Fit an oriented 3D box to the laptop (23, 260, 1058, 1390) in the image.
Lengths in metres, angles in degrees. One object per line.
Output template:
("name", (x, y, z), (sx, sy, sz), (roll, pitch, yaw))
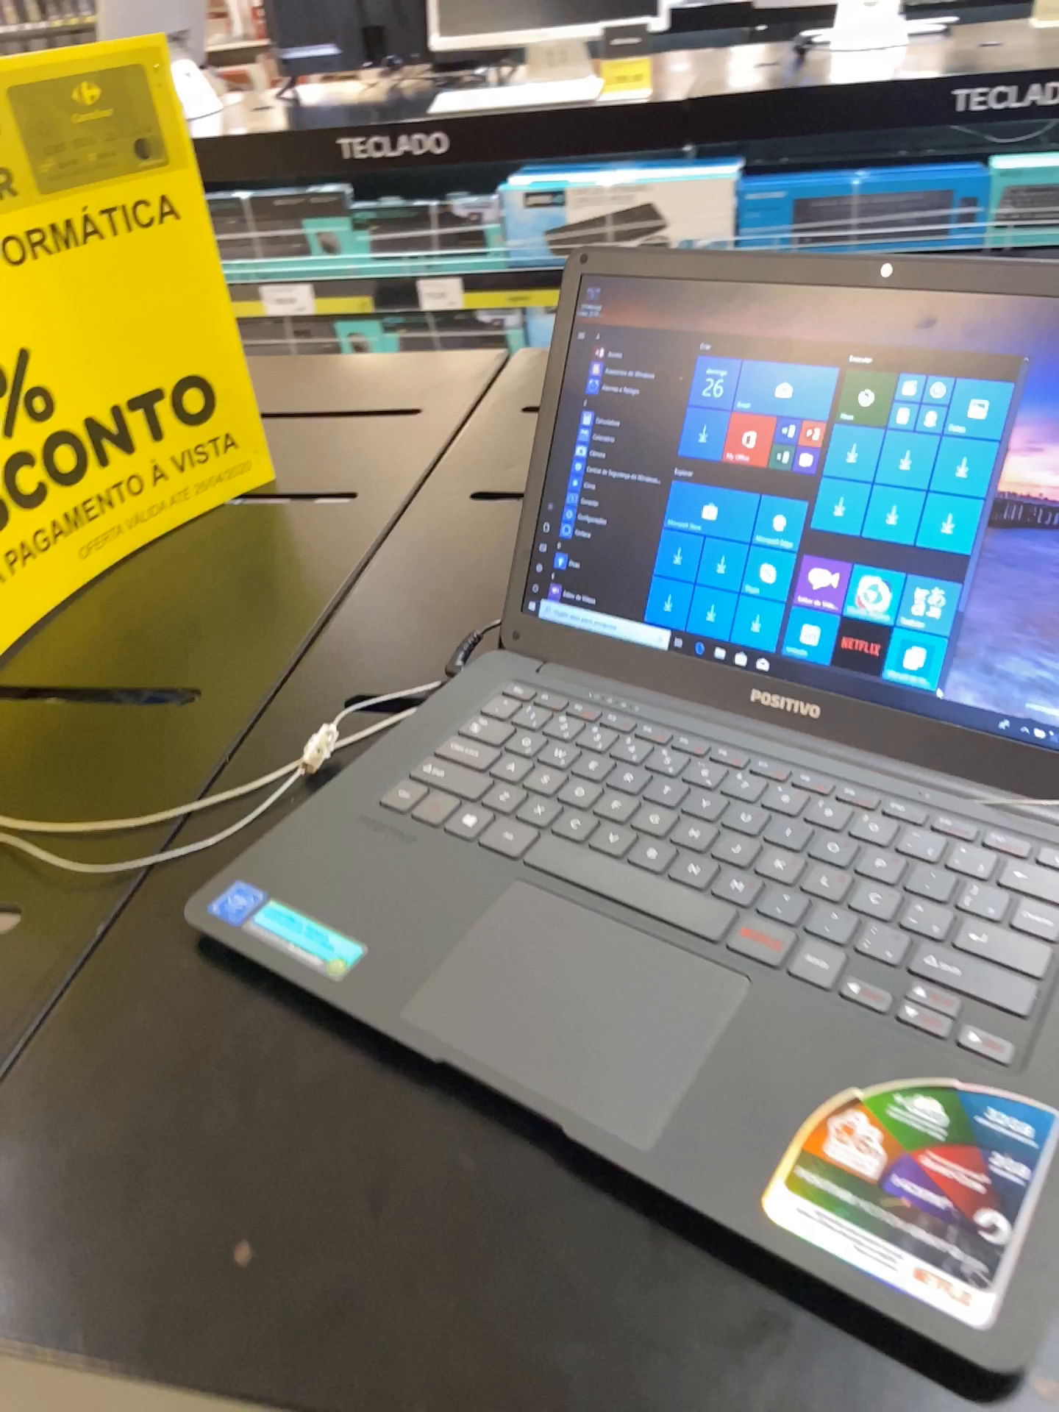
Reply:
("laptop", (0.066, -0.025, 0.371), (0.296, 0.159, 0.293), (17, 42, 32))
